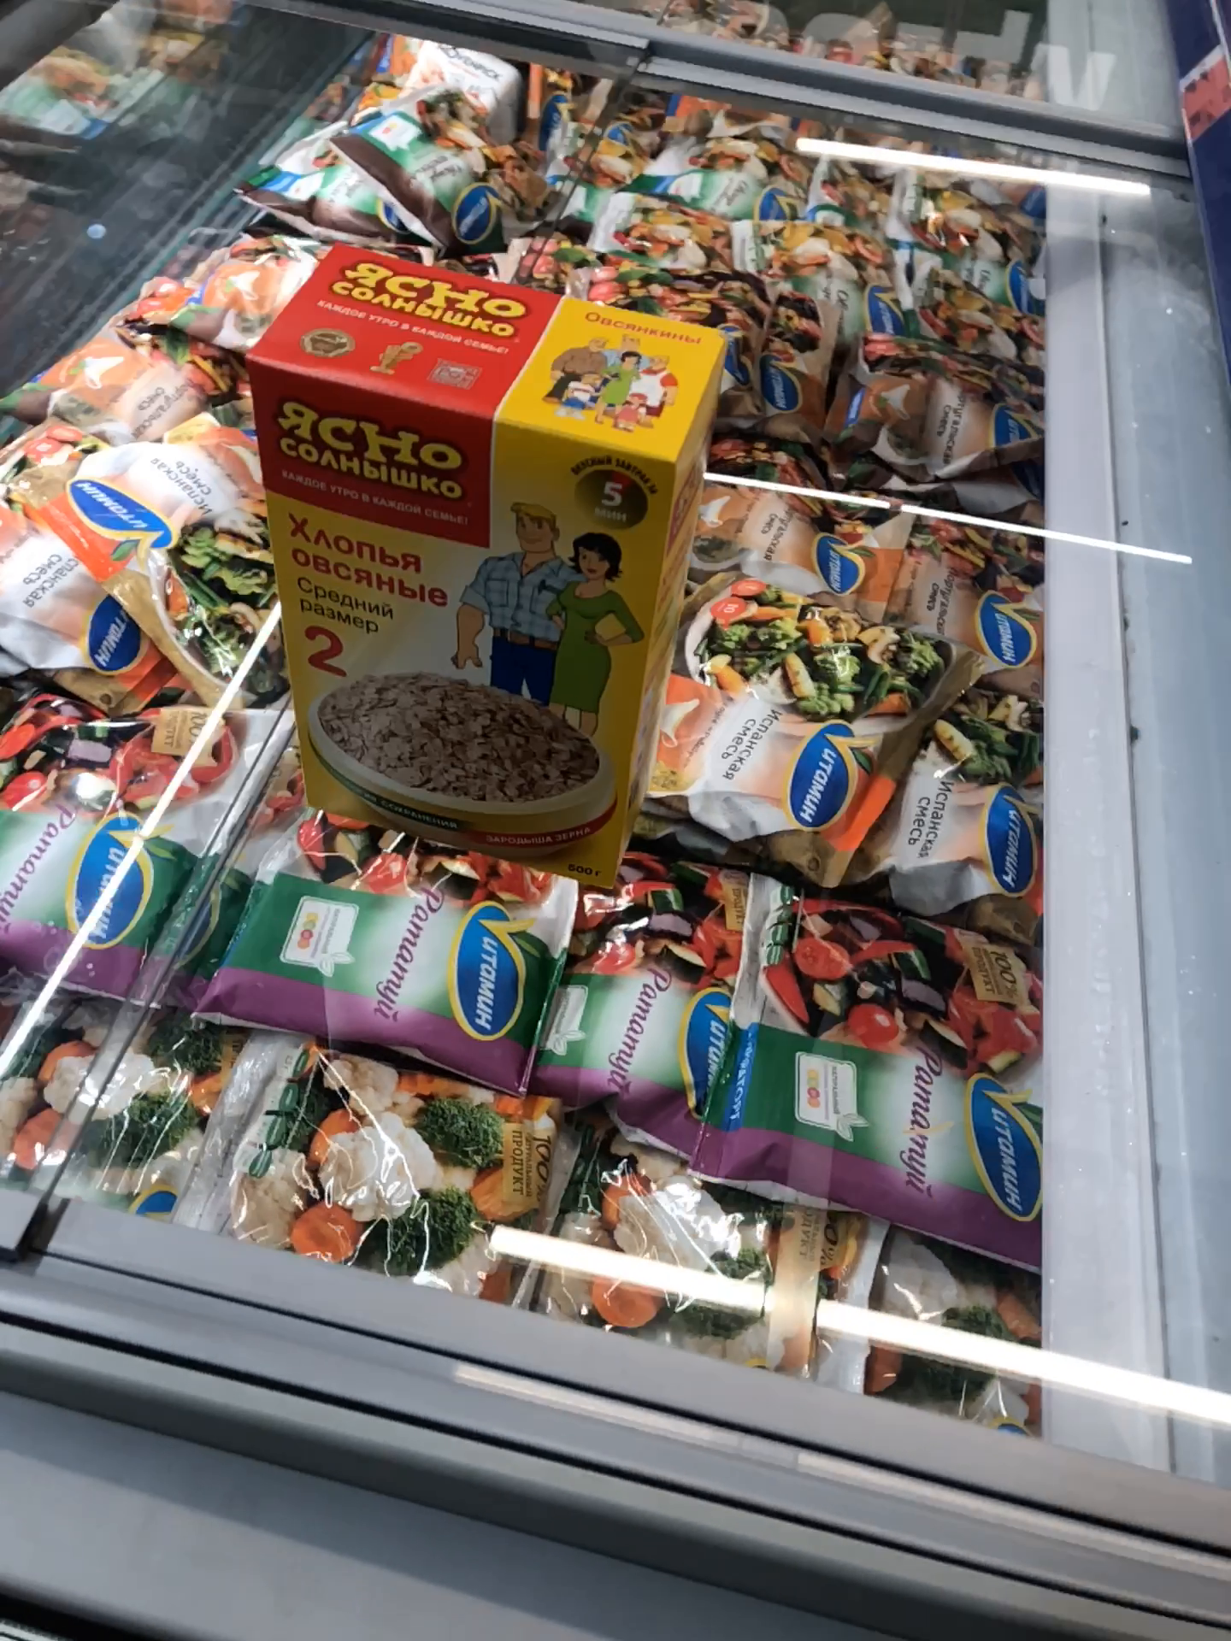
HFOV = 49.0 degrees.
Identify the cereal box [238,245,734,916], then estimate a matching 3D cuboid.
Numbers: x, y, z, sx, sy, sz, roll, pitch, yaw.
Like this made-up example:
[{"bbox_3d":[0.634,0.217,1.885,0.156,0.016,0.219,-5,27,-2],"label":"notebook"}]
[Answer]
[{"bbox_3d":[-0.041,-0.067,0.449,0.120,0.199,0.070,15,52,5],"label":"cereal box"}]
